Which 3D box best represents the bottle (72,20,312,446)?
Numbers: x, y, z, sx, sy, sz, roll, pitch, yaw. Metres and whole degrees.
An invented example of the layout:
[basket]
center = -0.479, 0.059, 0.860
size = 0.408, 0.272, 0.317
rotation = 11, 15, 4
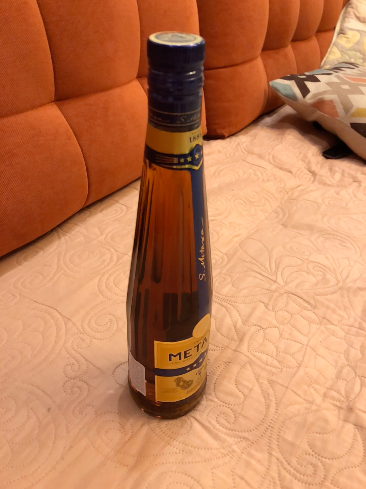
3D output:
[bottle]
center = -0.004, 0.008, 0.312
size = 0.100, 0.308, 0.090
rotation = -26, 45, -36
